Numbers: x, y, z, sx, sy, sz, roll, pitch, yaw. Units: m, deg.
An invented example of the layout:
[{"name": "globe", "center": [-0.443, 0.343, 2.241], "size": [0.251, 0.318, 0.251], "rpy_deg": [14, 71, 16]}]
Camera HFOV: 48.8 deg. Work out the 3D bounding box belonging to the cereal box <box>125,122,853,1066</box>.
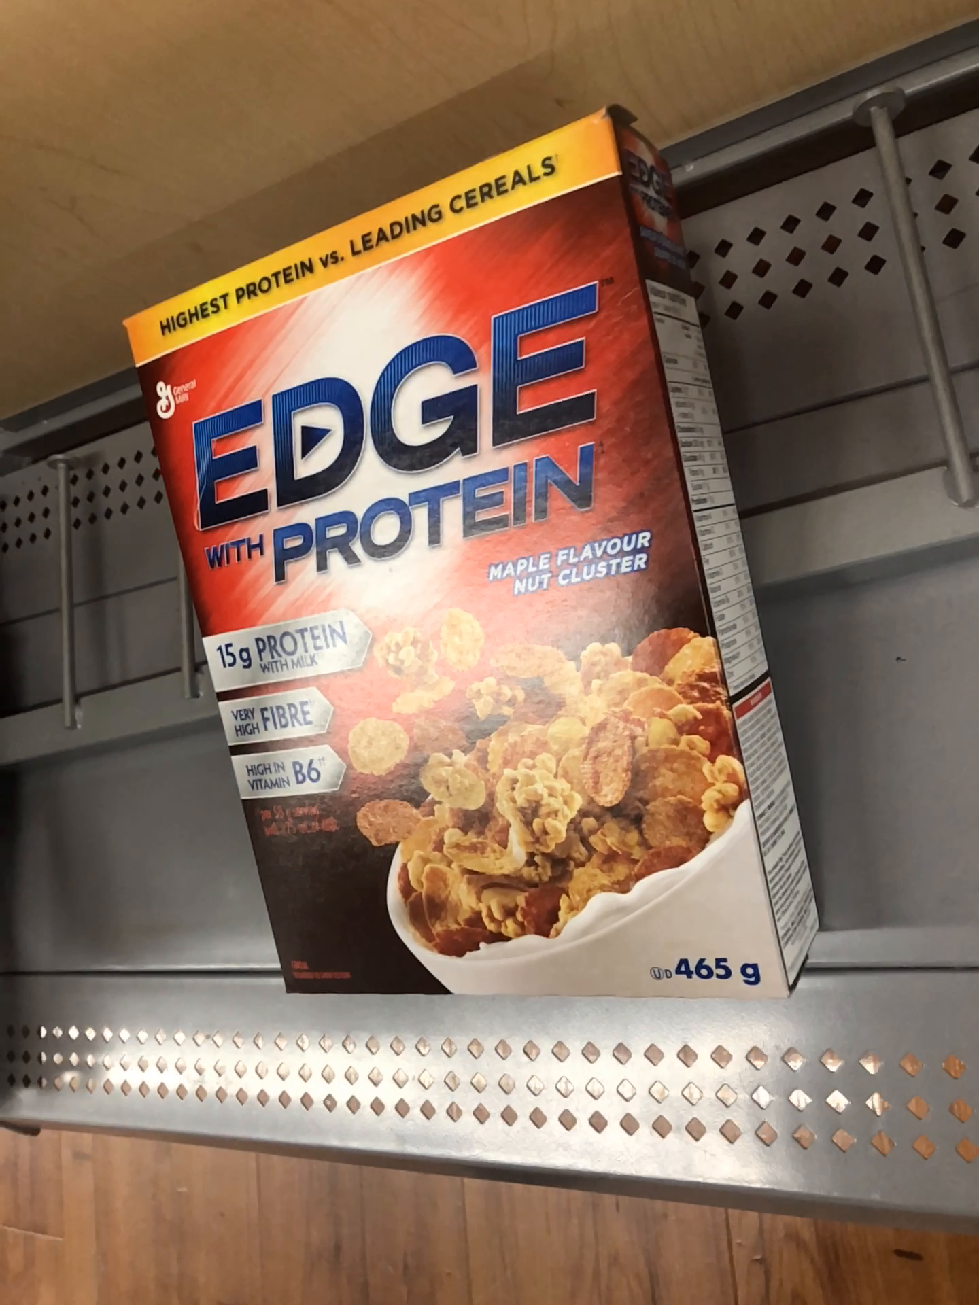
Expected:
[{"name": "cereal box", "center": [-0.006, -0.004, 0.374], "size": [0.201, 0.070, 0.260], "rpy_deg": [-9, 92, 31]}]
